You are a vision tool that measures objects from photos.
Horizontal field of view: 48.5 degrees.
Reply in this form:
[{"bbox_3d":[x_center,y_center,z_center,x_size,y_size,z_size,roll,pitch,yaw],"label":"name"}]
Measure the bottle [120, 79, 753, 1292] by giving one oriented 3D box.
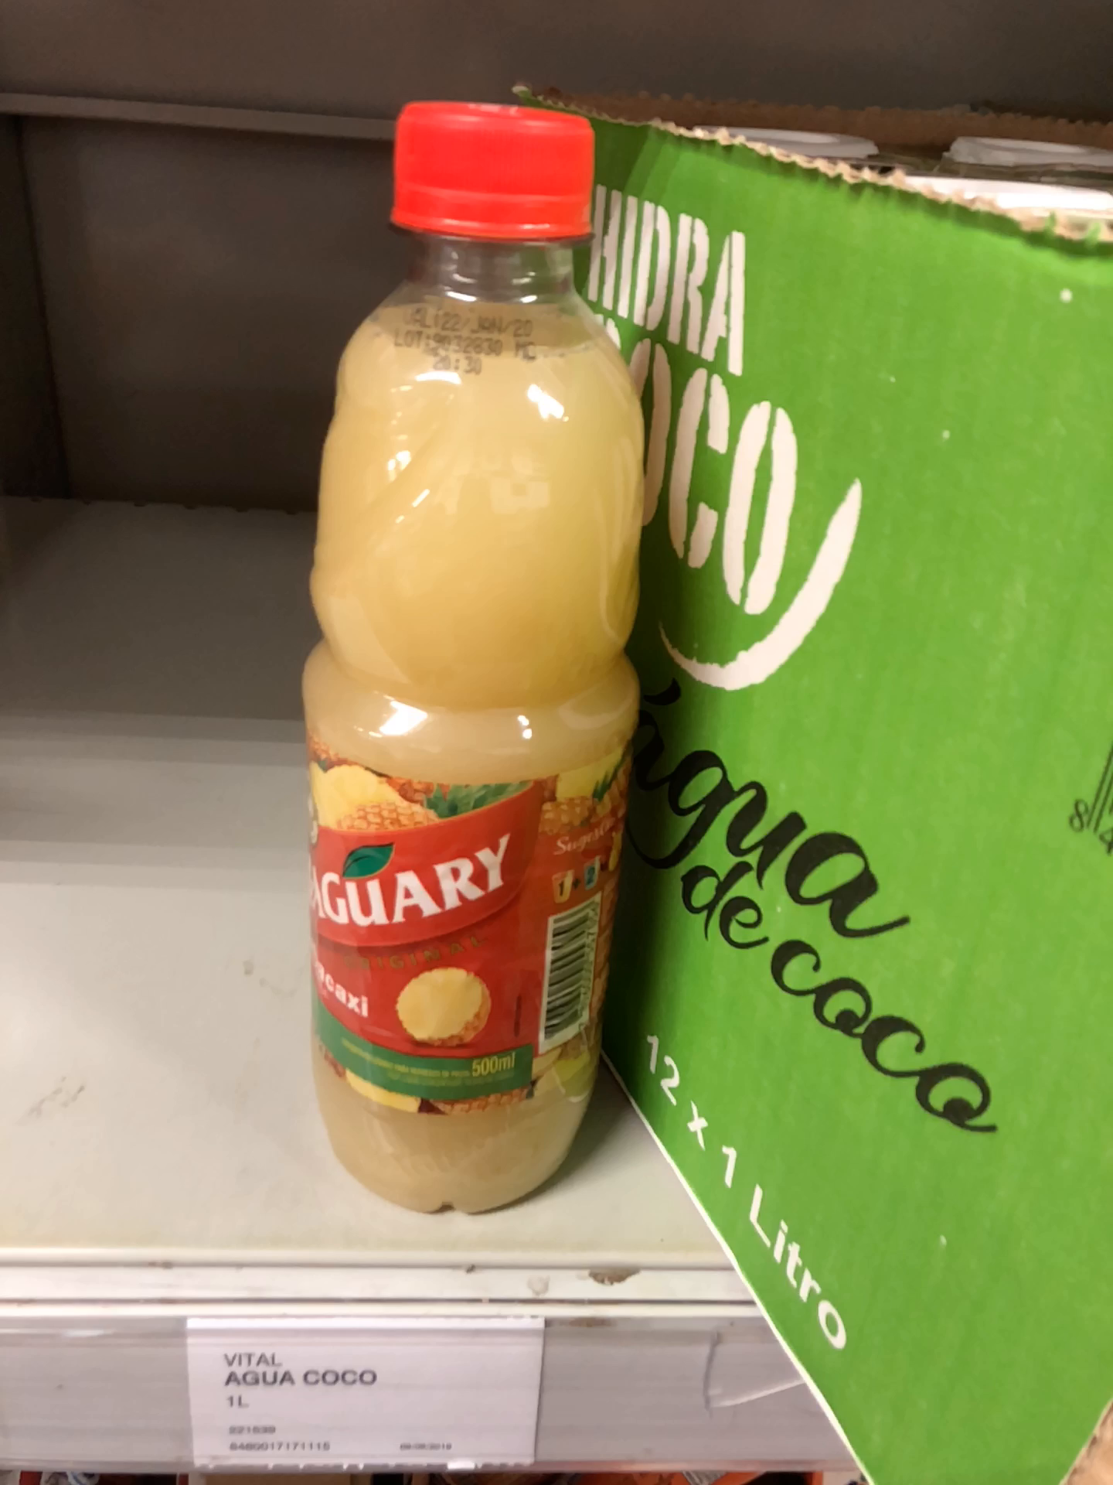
[{"bbox_3d":[-0.023,-0.004,0.233,0.070,0.208,0.060,25,37,32],"label":"bottle"}]
